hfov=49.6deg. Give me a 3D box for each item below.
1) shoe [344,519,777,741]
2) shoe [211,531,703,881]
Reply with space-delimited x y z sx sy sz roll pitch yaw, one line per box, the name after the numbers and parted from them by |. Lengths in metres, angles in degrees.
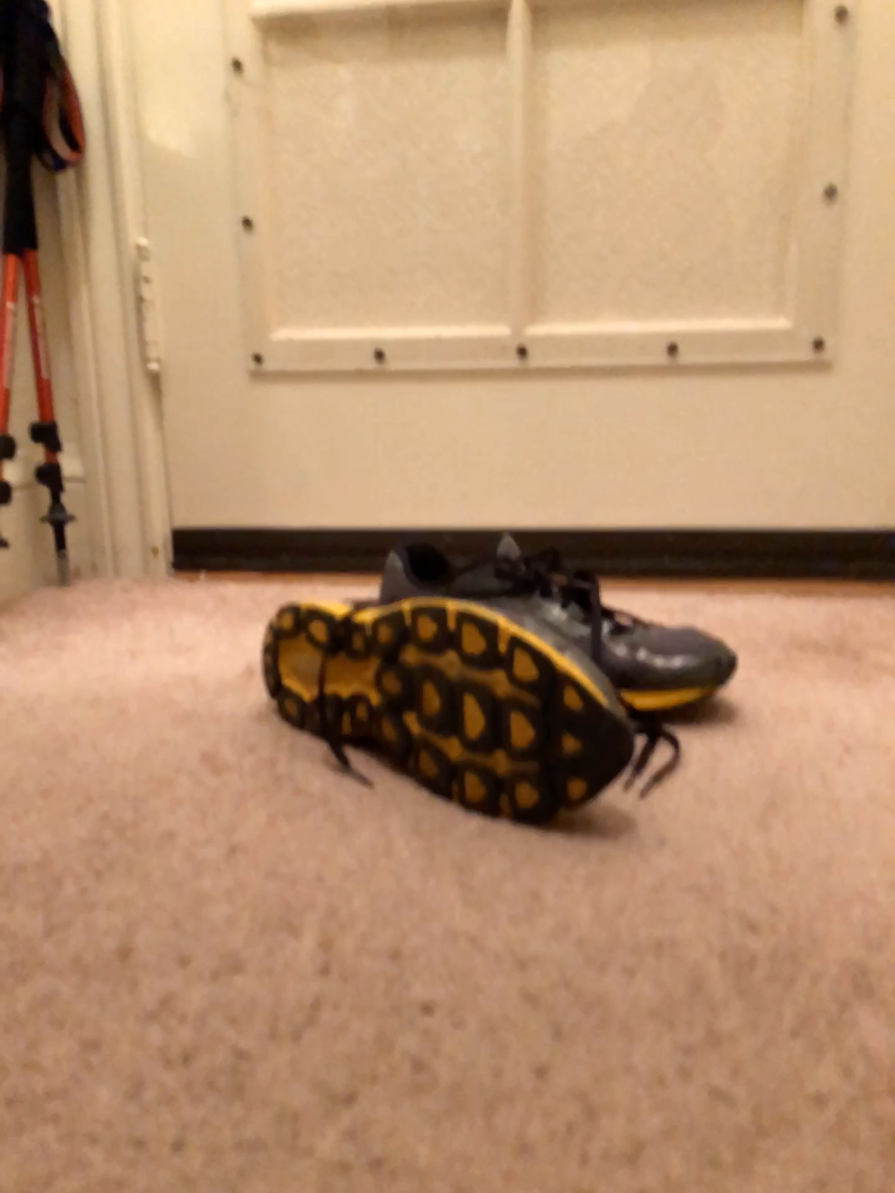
0.074 0.011 0.699 0.283 0.099 0.118 8 15 34 | shoe
-0.008 0.043 0.578 0.293 0.118 0.109 12 20 44 | shoe
